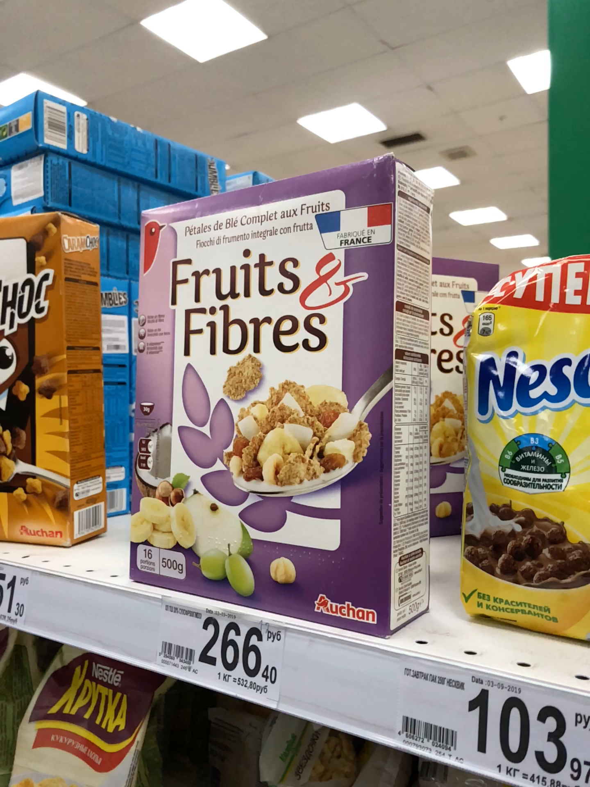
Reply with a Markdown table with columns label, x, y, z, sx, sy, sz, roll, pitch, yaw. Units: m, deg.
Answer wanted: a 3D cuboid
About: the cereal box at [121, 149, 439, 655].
| label | x | y | z | sx | sy | sz | roll | pitch | yaw |
| --- | --- | --- | --- | --- | --- | --- | --- | --- | --- |
| cereal box | -0.016 | 0.003 | 0.416 | 0.200 | 0.260 | 0.060 | -1 | -3 | 34 |
